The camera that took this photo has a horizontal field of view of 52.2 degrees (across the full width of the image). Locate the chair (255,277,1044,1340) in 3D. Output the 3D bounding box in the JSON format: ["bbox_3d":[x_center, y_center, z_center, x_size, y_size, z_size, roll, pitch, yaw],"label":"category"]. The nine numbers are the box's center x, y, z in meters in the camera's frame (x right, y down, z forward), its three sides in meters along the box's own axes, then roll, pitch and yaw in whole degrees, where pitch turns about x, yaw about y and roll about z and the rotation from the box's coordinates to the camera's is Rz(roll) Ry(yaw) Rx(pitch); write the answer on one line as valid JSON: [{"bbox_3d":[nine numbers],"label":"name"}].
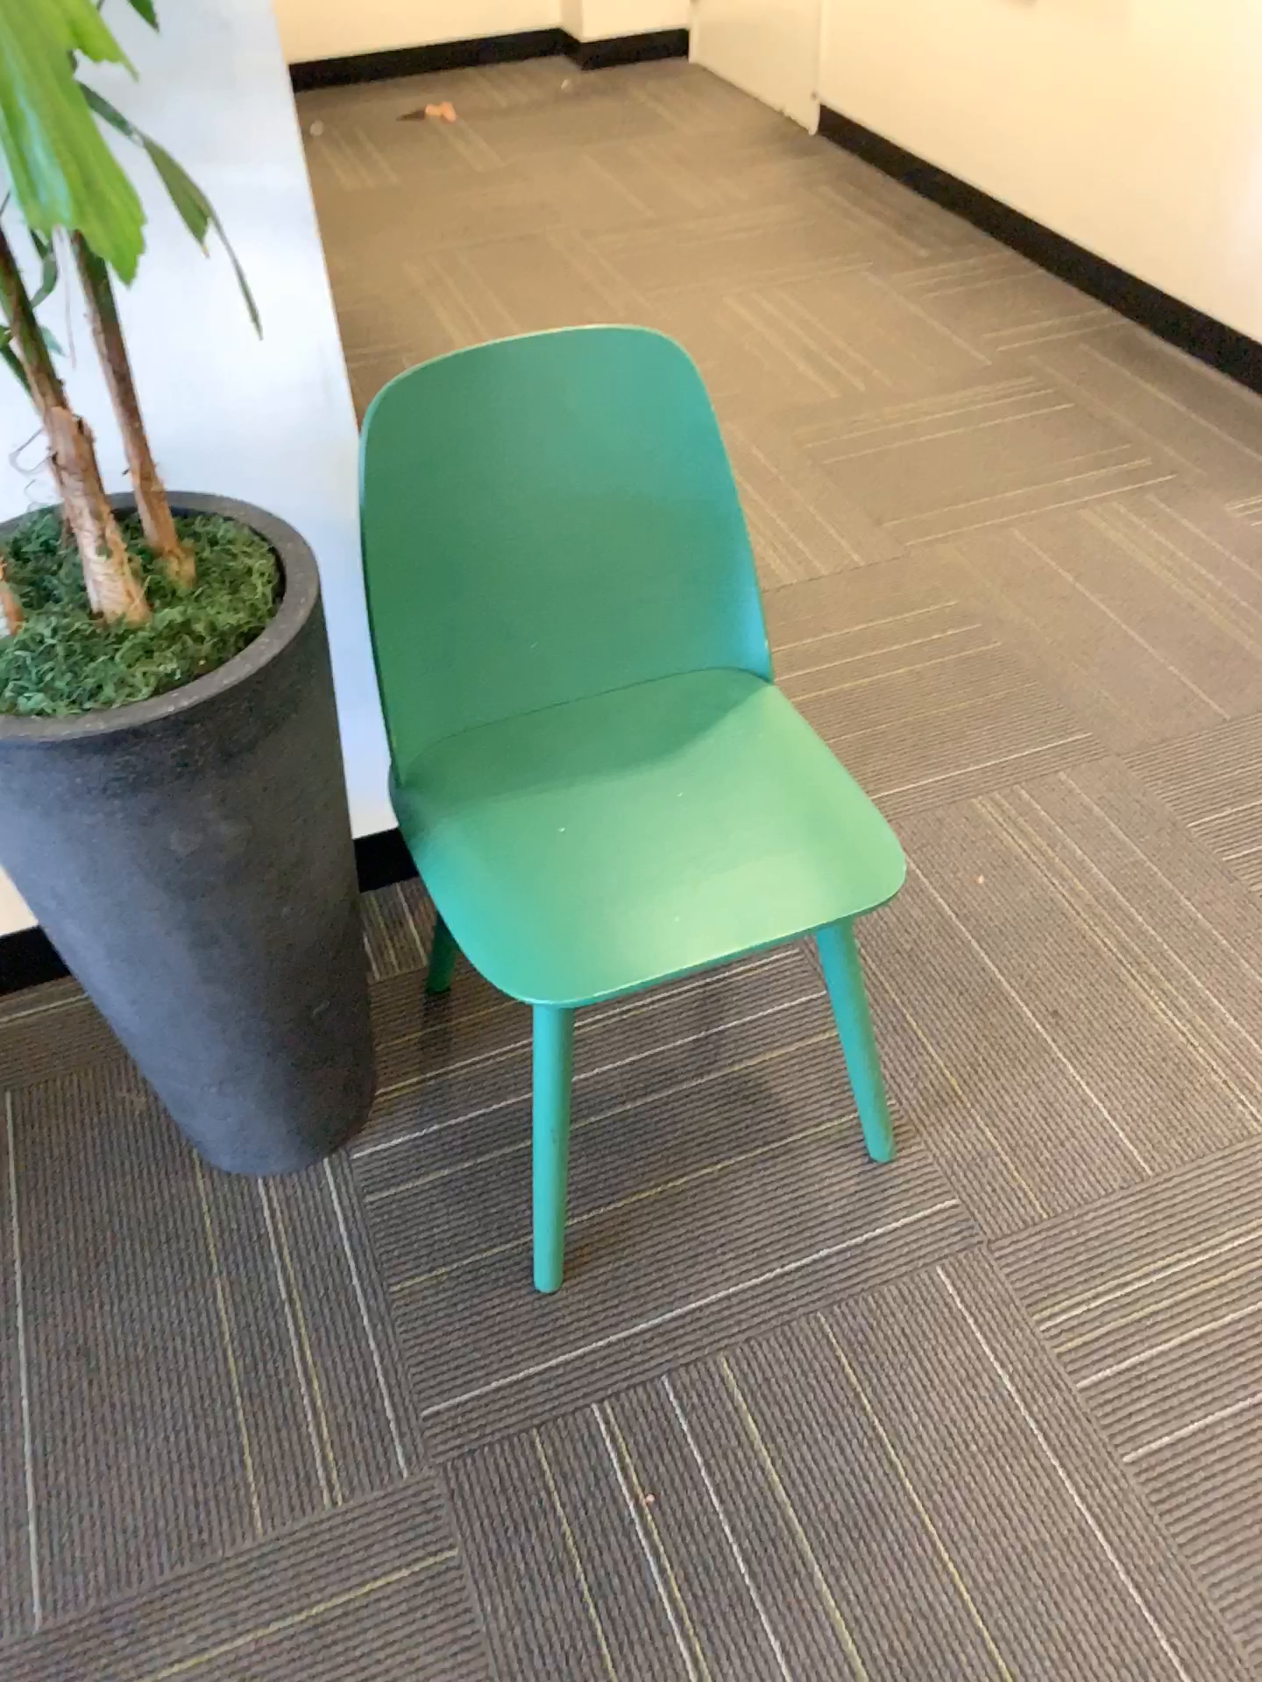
[{"bbox_3d":[-0.036,-0.059,1.223,0.390,0.627,0.714,-16,46,-13],"label":"chair"}]
